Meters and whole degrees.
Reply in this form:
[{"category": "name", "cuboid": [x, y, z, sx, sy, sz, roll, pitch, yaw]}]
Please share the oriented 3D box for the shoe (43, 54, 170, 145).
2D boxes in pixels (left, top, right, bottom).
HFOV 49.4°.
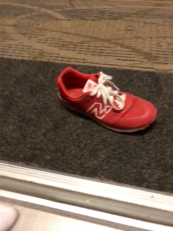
[{"category": "shoe", "cuboid": [0.042, -0.044, 0.453, 0.257, 0.107, 0.101, 20, 56, 18]}]
